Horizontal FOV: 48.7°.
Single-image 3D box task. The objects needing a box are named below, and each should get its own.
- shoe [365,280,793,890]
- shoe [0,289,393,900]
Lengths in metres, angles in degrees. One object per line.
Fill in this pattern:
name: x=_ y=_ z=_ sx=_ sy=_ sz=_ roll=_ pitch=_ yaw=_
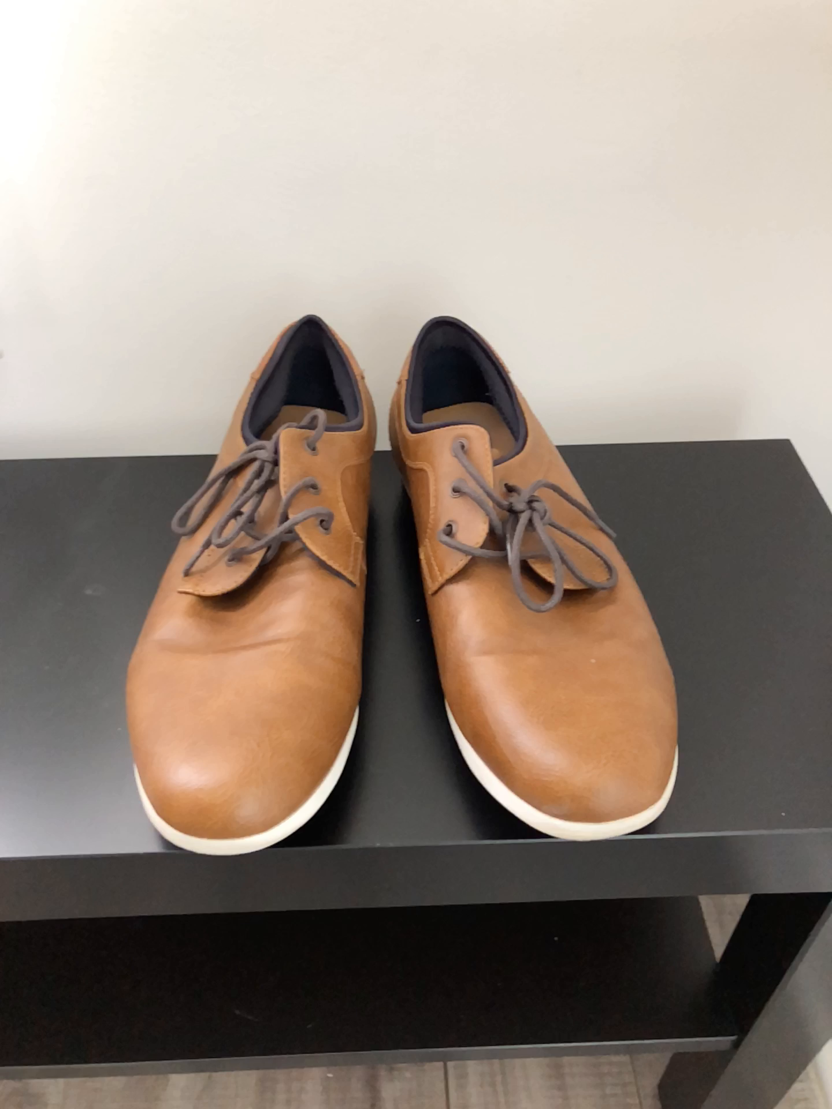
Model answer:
shoe: x=0.045 y=-0.011 z=0.416 sx=0.104 sy=0.100 sz=0.281 roll=-6 pitch=43 yaw=-6
shoe: x=-0.074 y=-0.006 z=0.400 sx=0.104 sy=0.100 sz=0.271 roll=2 pitch=42 yaw=3
